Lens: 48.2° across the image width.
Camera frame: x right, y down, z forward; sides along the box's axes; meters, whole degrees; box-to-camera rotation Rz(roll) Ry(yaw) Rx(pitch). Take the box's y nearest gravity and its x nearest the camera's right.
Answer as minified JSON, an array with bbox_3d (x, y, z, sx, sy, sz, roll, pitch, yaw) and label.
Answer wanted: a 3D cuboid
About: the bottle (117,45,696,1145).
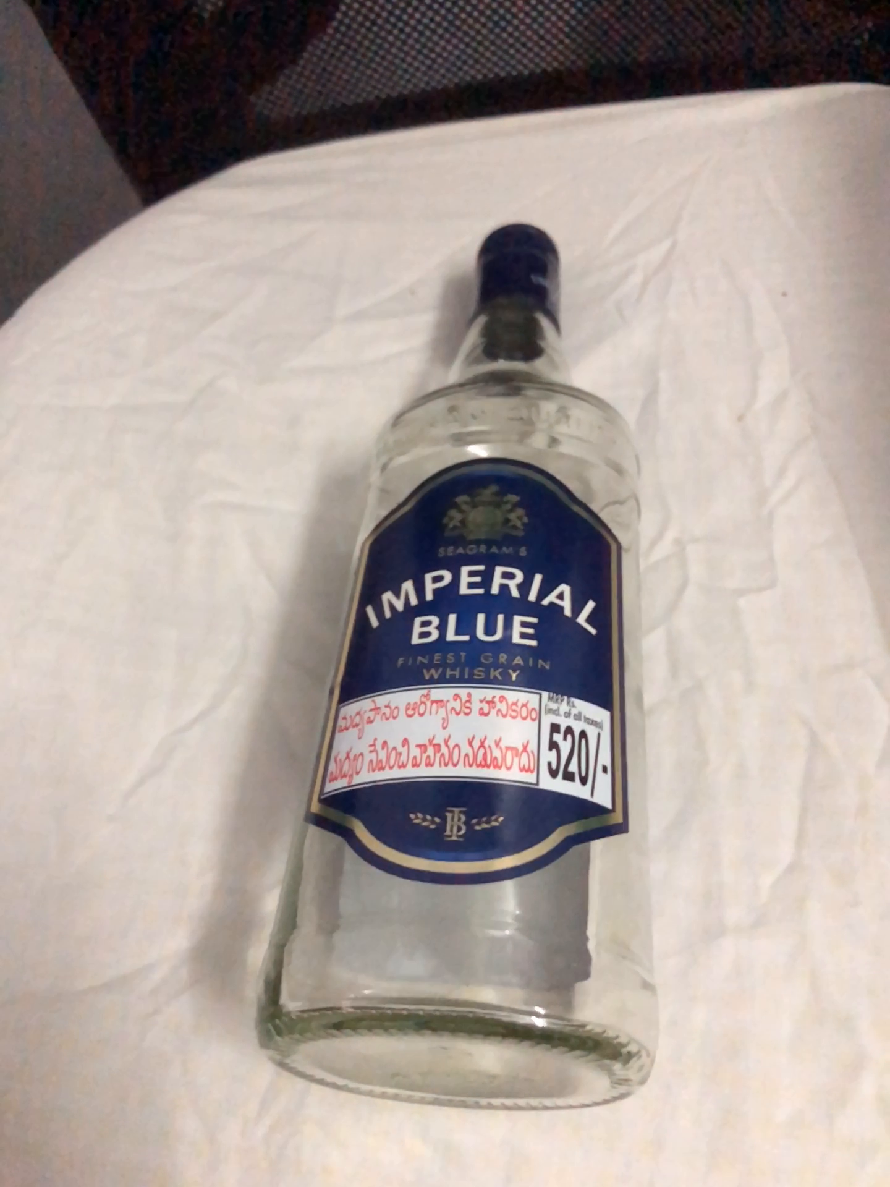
[{"bbox_3d":[0.008,-0.019,0.254,0.090,0.080,0.271,-1,59,10],"label":"bottle"}]
